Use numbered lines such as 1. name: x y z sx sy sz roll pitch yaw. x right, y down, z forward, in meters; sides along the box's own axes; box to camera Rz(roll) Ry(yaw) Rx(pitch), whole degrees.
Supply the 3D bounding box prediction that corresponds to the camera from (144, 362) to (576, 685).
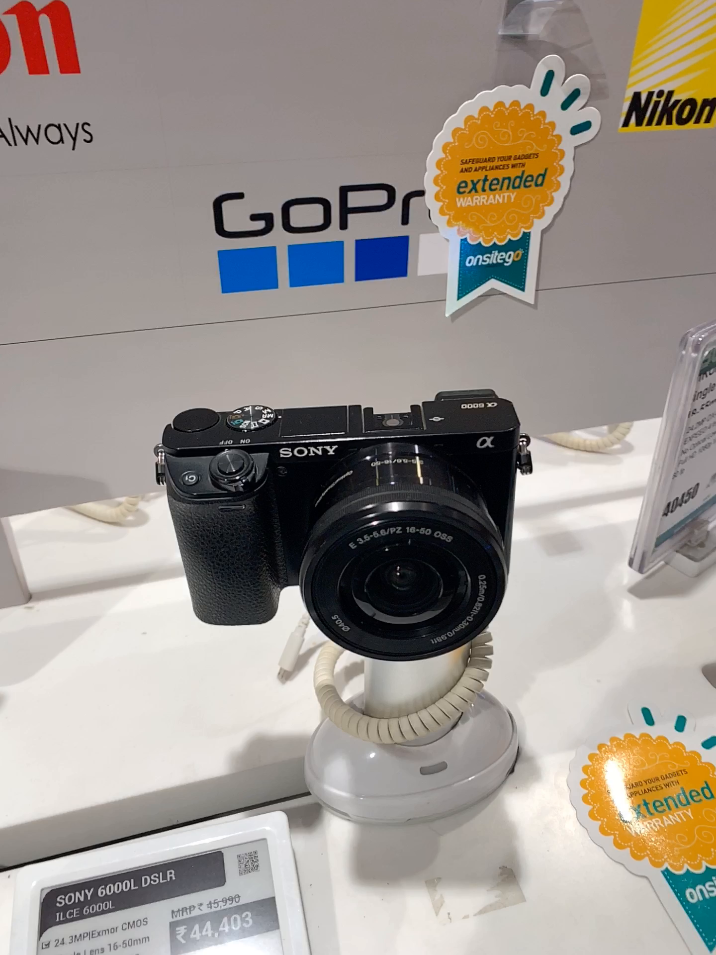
1. camera: 0.000 0.015 0.249 0.120 0.090 0.050 -3 33 -4
